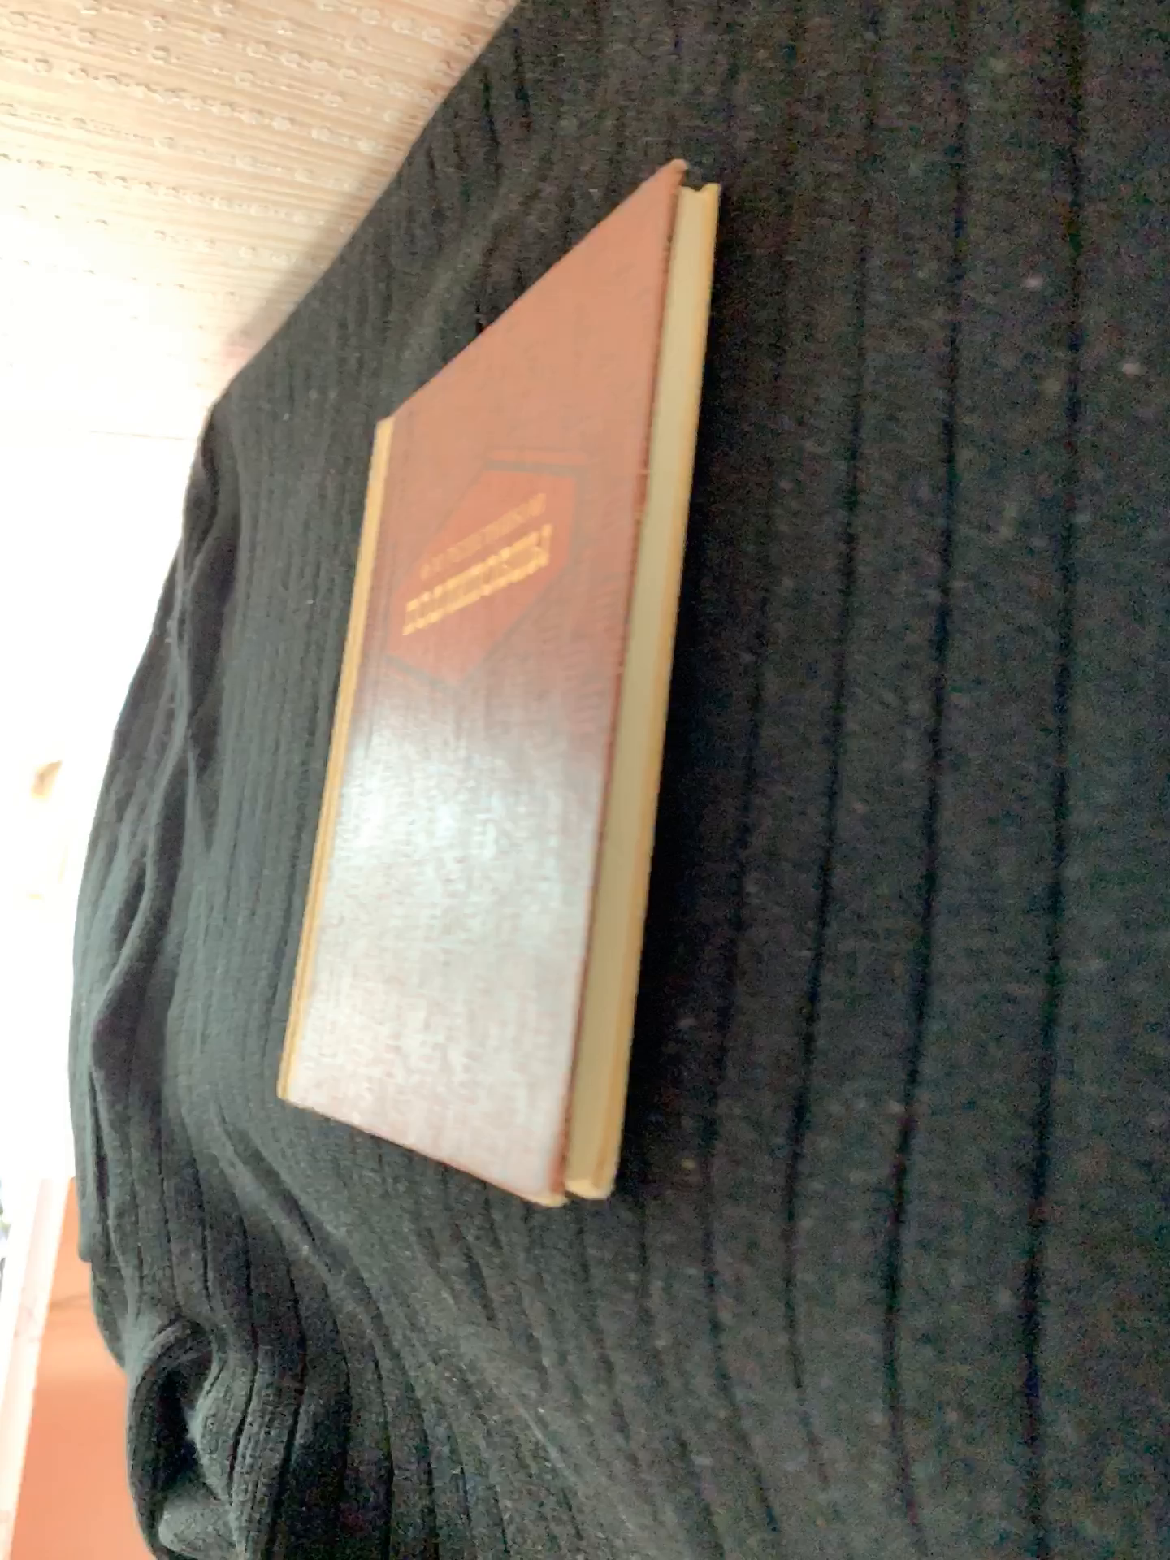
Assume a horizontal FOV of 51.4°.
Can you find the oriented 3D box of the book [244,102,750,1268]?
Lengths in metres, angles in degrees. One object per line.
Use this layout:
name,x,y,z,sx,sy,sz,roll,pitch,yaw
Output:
book,-0.024,-0.014,0.235,0.130,0.015,0.177,-12,67,58
